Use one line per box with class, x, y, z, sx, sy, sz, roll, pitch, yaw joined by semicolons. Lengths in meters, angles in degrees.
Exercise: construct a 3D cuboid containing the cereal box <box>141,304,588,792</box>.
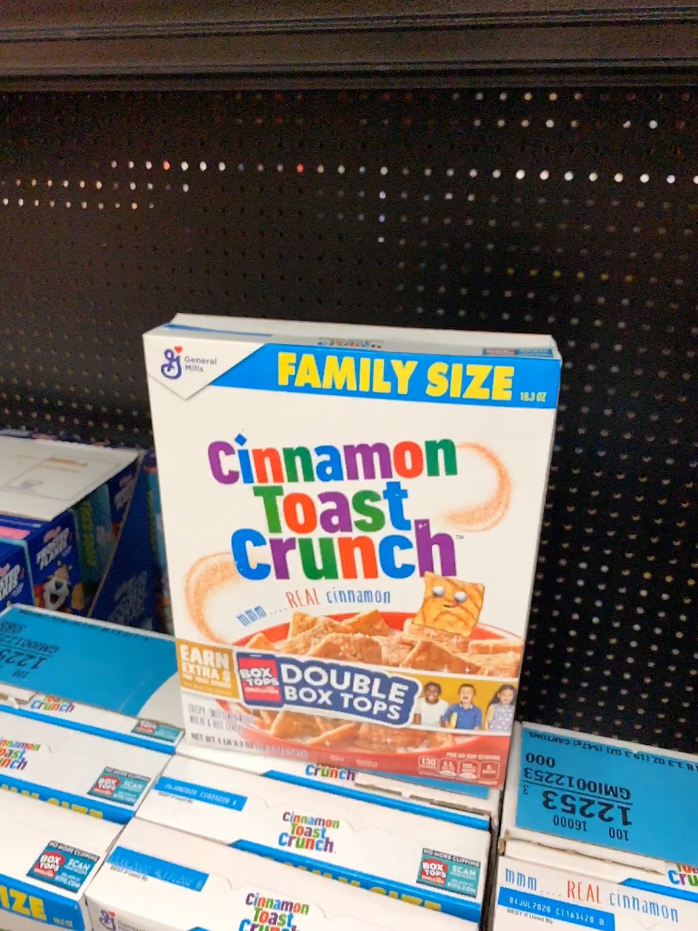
cereal box;0.006;0.057;0.468;0.240;0.299;0.060;5;23;10
